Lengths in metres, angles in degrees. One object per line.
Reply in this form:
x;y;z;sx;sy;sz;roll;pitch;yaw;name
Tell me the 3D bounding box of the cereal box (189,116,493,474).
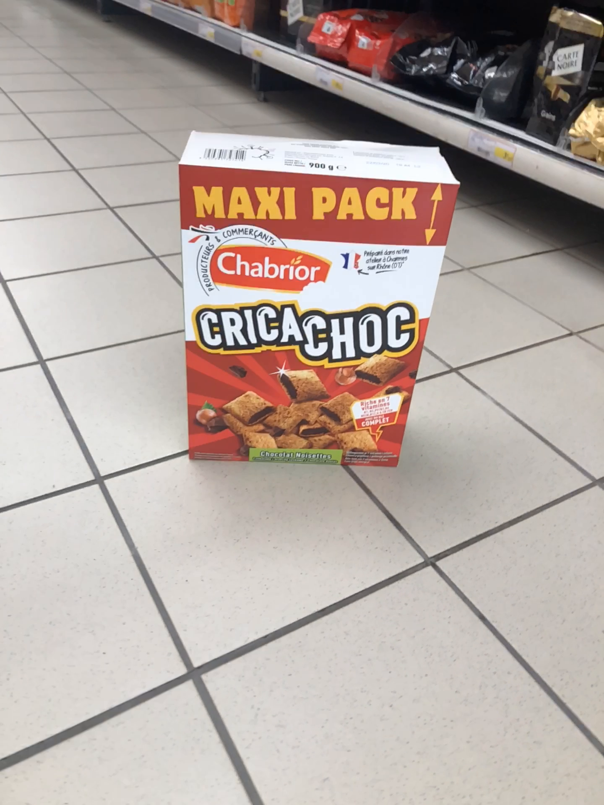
0.017;-0.075;0.543;0.200;0.268;0.080;3;35;-3;cereal box
